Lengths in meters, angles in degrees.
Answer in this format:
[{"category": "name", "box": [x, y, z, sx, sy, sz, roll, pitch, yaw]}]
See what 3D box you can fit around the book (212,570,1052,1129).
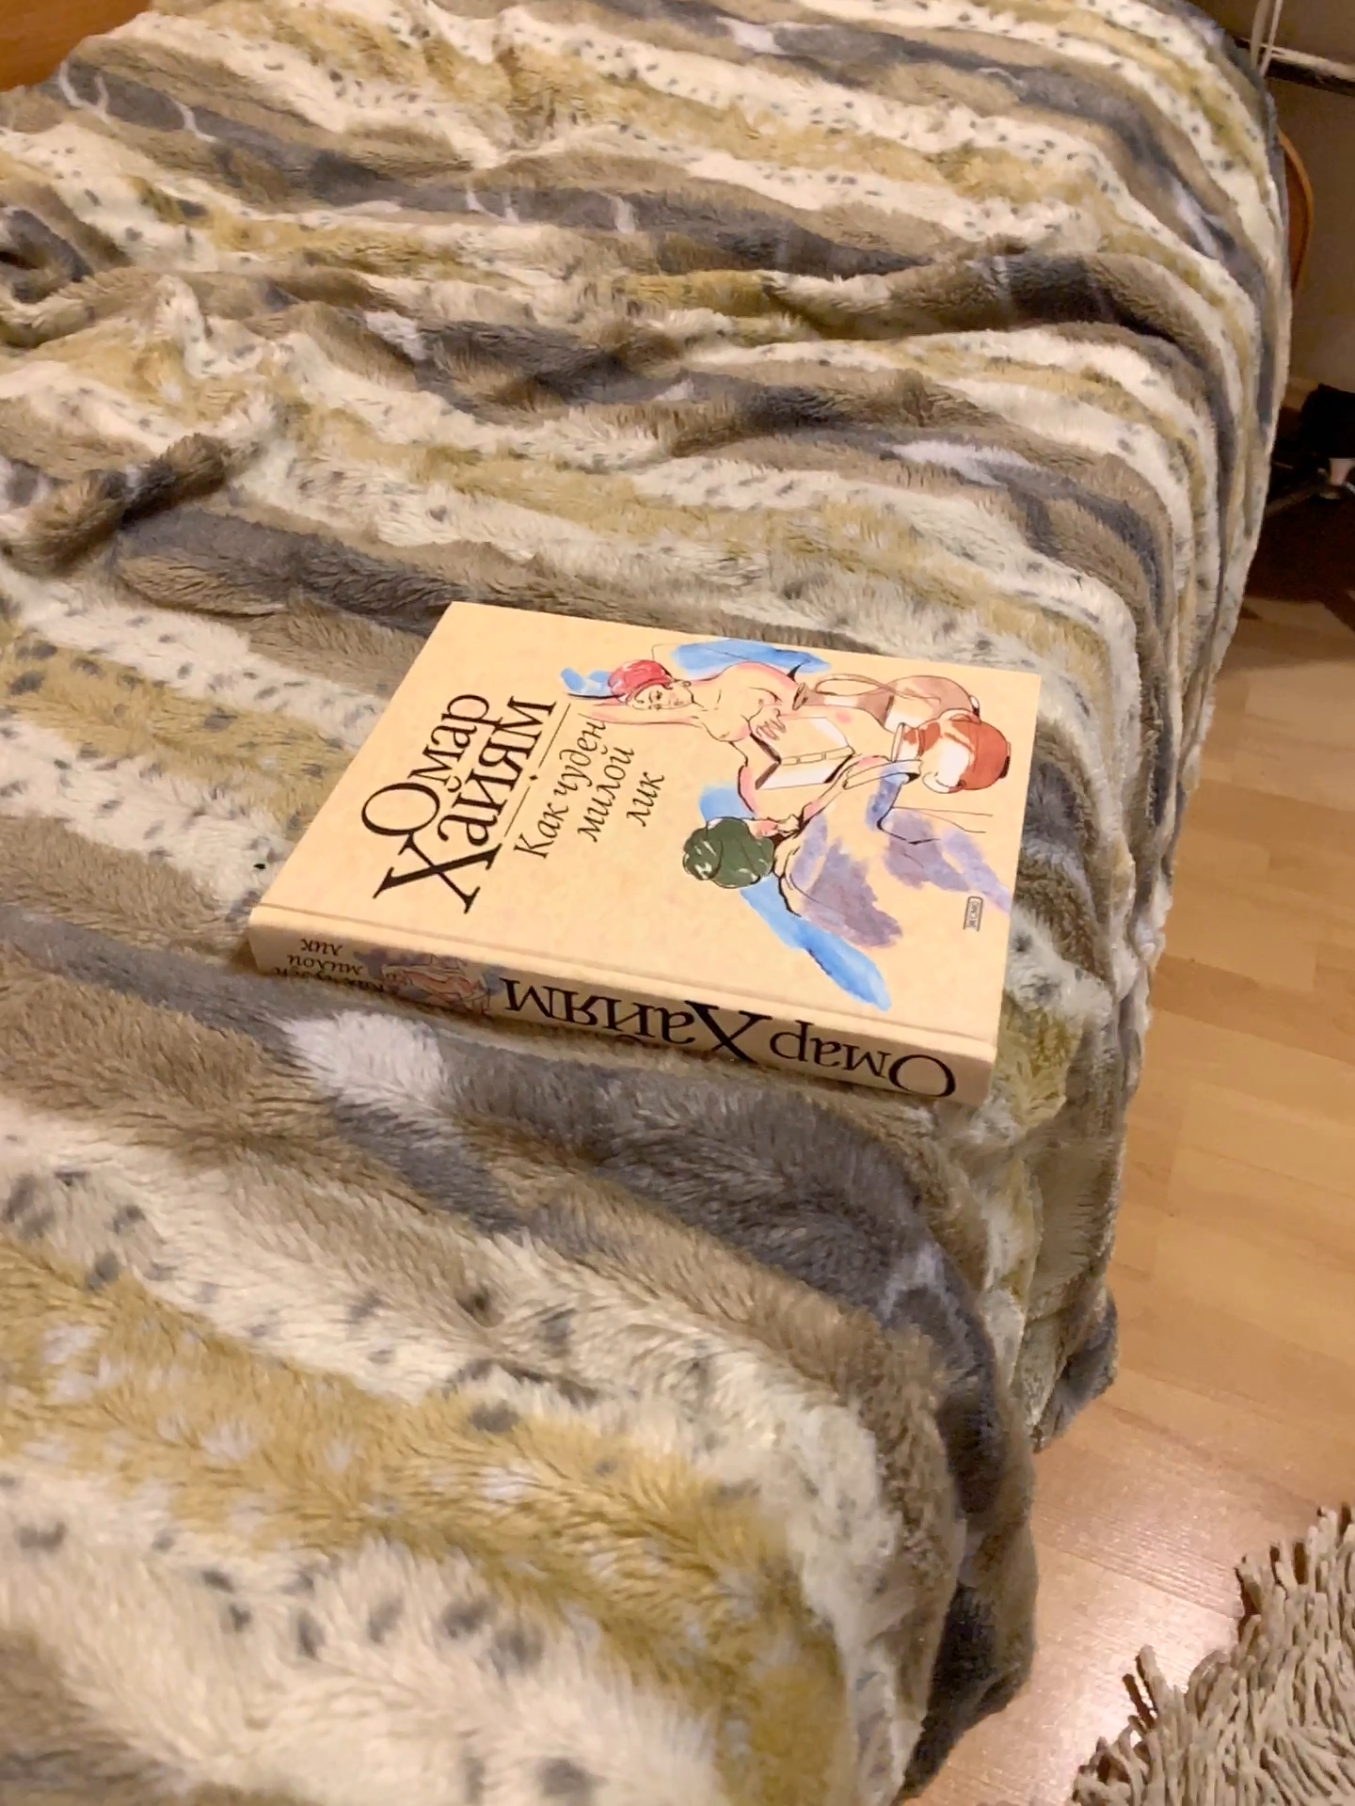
[{"category": "book", "box": [-0.003, -0.030, 0.437, 0.220, 0.030, 0.171, 10, 48, 10]}]
